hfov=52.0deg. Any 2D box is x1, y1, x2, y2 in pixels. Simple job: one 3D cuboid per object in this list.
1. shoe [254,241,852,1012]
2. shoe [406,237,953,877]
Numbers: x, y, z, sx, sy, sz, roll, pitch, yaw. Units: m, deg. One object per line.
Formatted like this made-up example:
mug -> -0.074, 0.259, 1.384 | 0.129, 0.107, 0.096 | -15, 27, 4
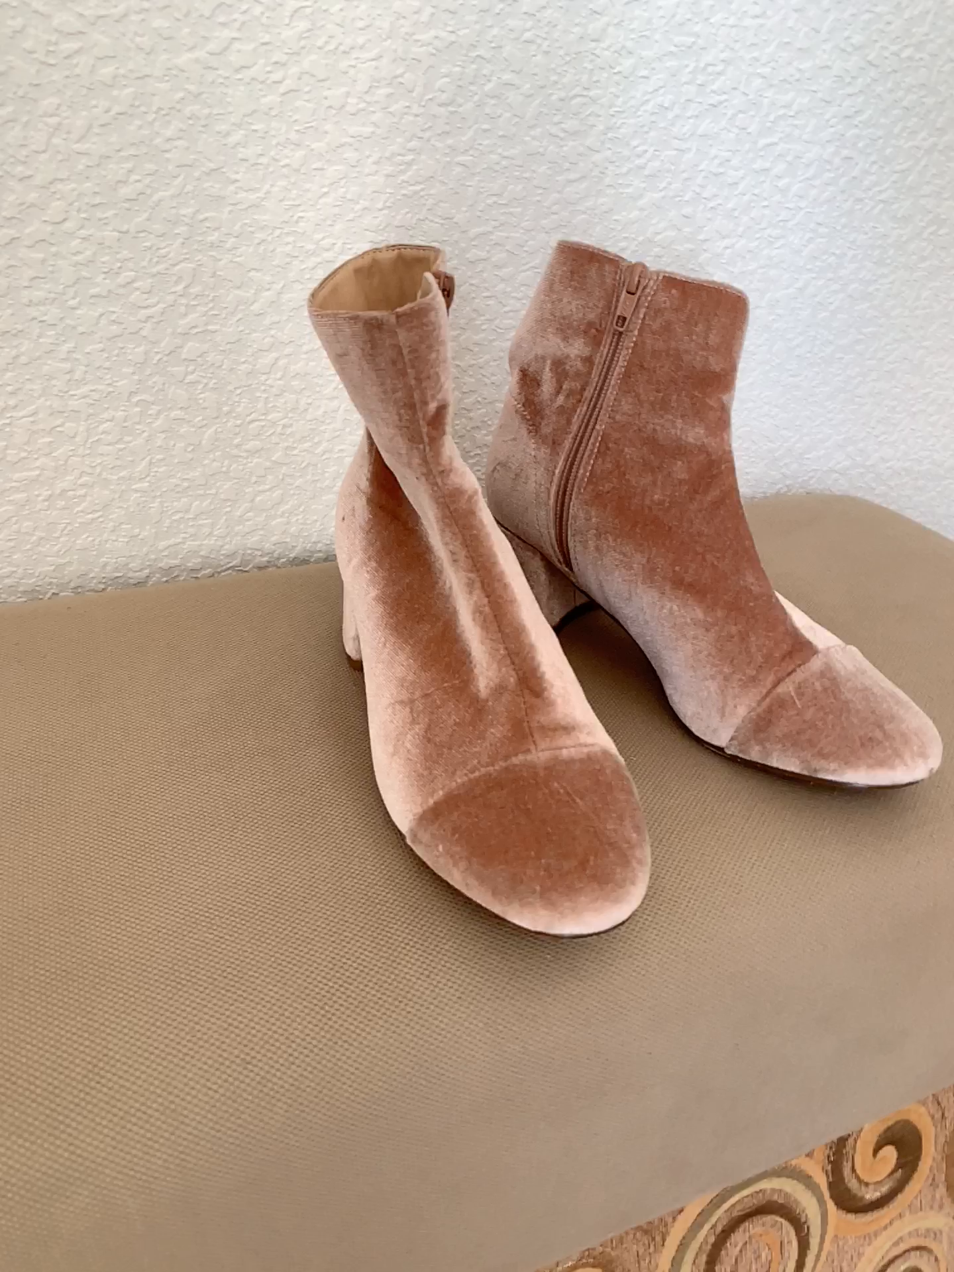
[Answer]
shoe -> -0.003, -0.029, 0.348 | 0.100, 0.169, 0.231 | -9, 33, -19
shoe -> 0.091, -0.058, 0.426 | 0.100, 0.169, 0.271 | -22, 40, -35
